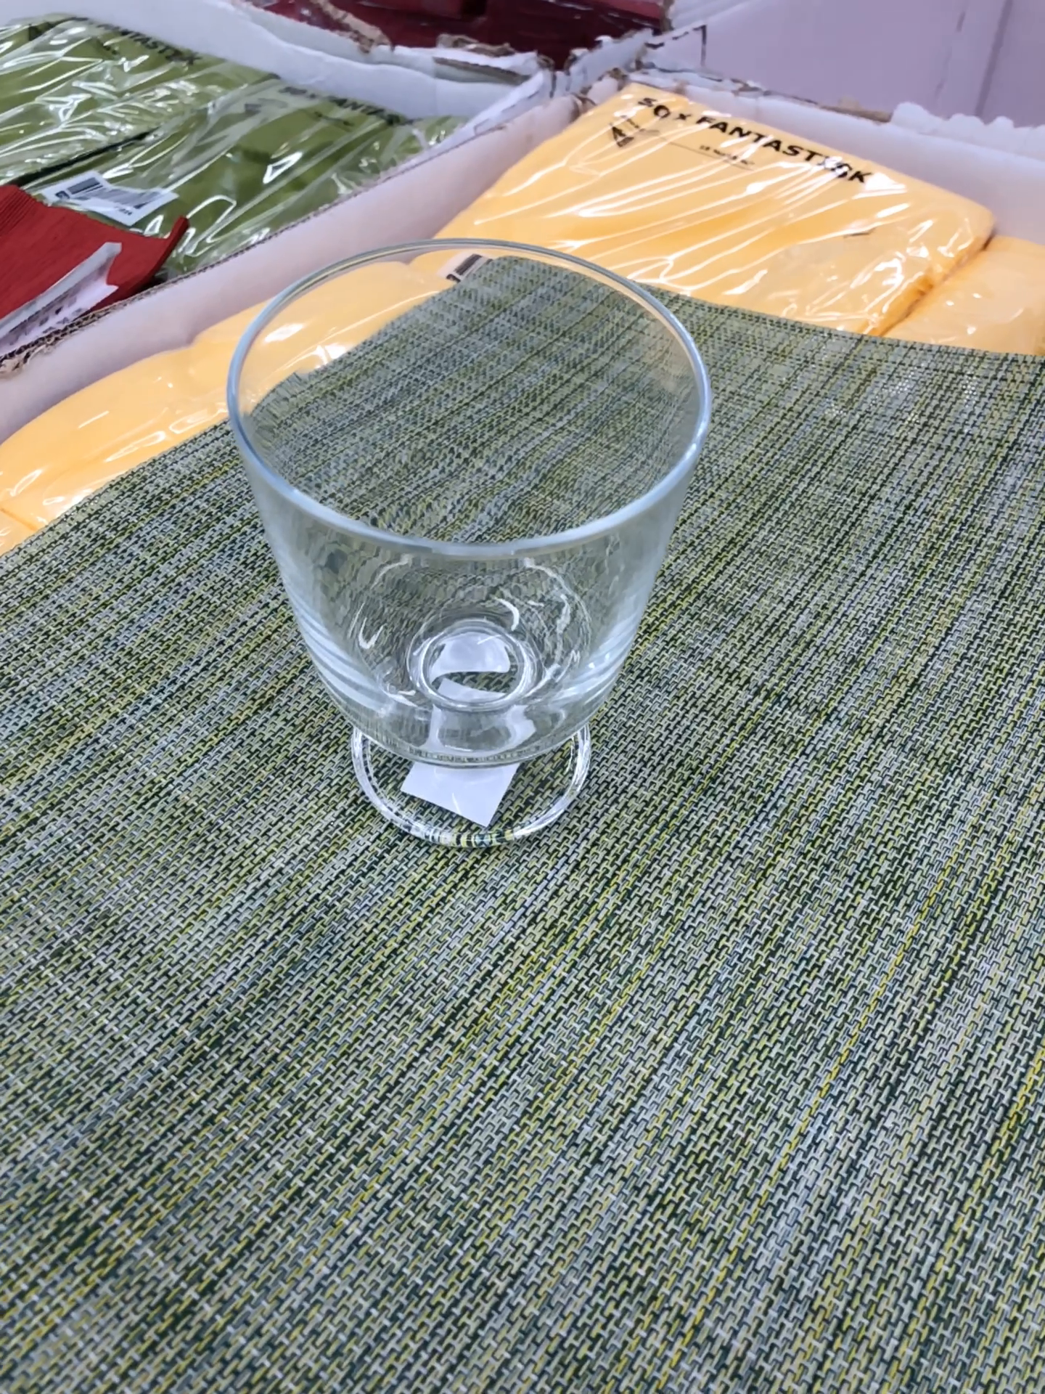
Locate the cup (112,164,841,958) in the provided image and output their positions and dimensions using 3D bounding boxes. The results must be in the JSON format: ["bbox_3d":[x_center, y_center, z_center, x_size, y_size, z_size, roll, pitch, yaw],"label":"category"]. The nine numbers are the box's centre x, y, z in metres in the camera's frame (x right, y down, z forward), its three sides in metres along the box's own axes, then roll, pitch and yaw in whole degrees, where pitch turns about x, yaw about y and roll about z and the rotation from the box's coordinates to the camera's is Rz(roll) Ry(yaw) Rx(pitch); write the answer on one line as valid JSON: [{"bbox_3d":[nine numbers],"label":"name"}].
[{"bbox_3d":[-0.011,-0.026,0.247,0.090,0.110,0.090,1,55,-2],"label":"cup"}]
